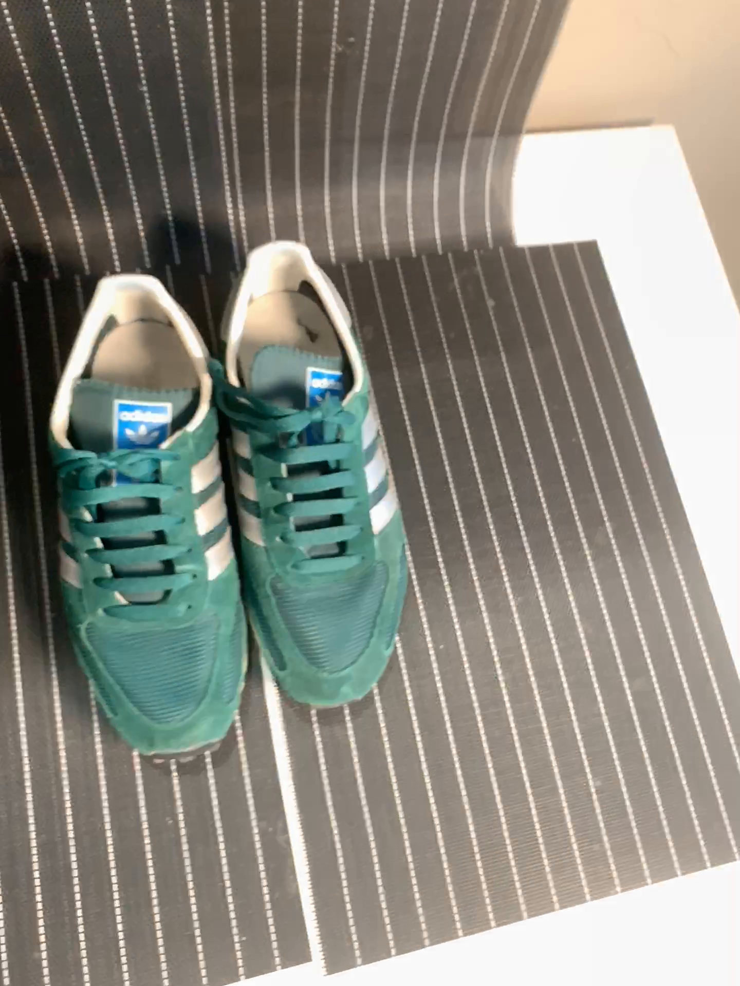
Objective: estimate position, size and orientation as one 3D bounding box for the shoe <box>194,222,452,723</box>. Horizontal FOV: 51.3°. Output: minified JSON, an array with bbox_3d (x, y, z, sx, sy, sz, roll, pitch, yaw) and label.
[{"bbox_3d":[-0.039,-0.009,0.483,0.100,0.120,0.280,-7,75,-10],"label":"shoe"}]

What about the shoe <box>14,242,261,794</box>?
[{"bbox_3d":[-0.133,0.009,0.450,0.100,0.090,0.290,-7,75,-10],"label":"shoe"}]
